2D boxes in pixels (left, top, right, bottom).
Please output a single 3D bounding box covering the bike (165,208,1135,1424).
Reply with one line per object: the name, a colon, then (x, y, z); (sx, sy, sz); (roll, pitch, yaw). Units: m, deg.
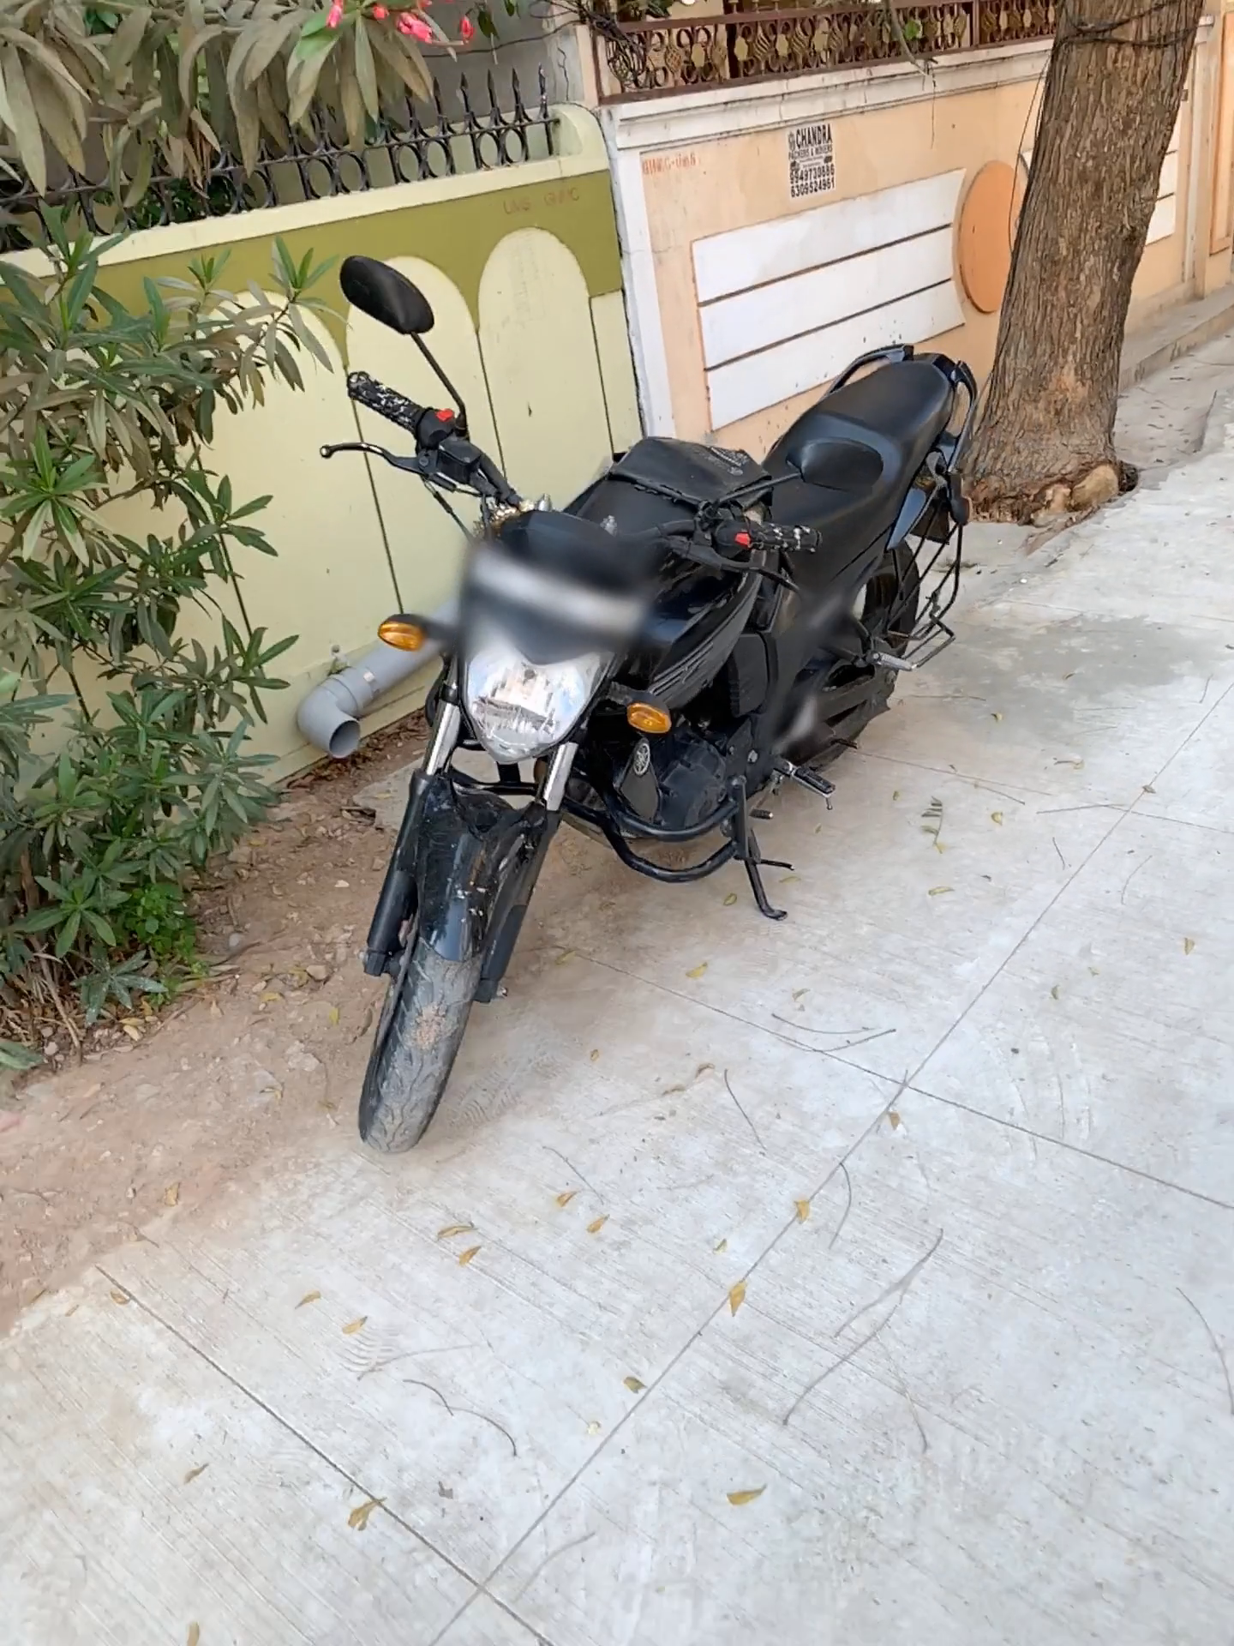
bike: (0.247, -0.222, 2.169); (0.748, 1.076, 1.686); (12, 39, 35)
